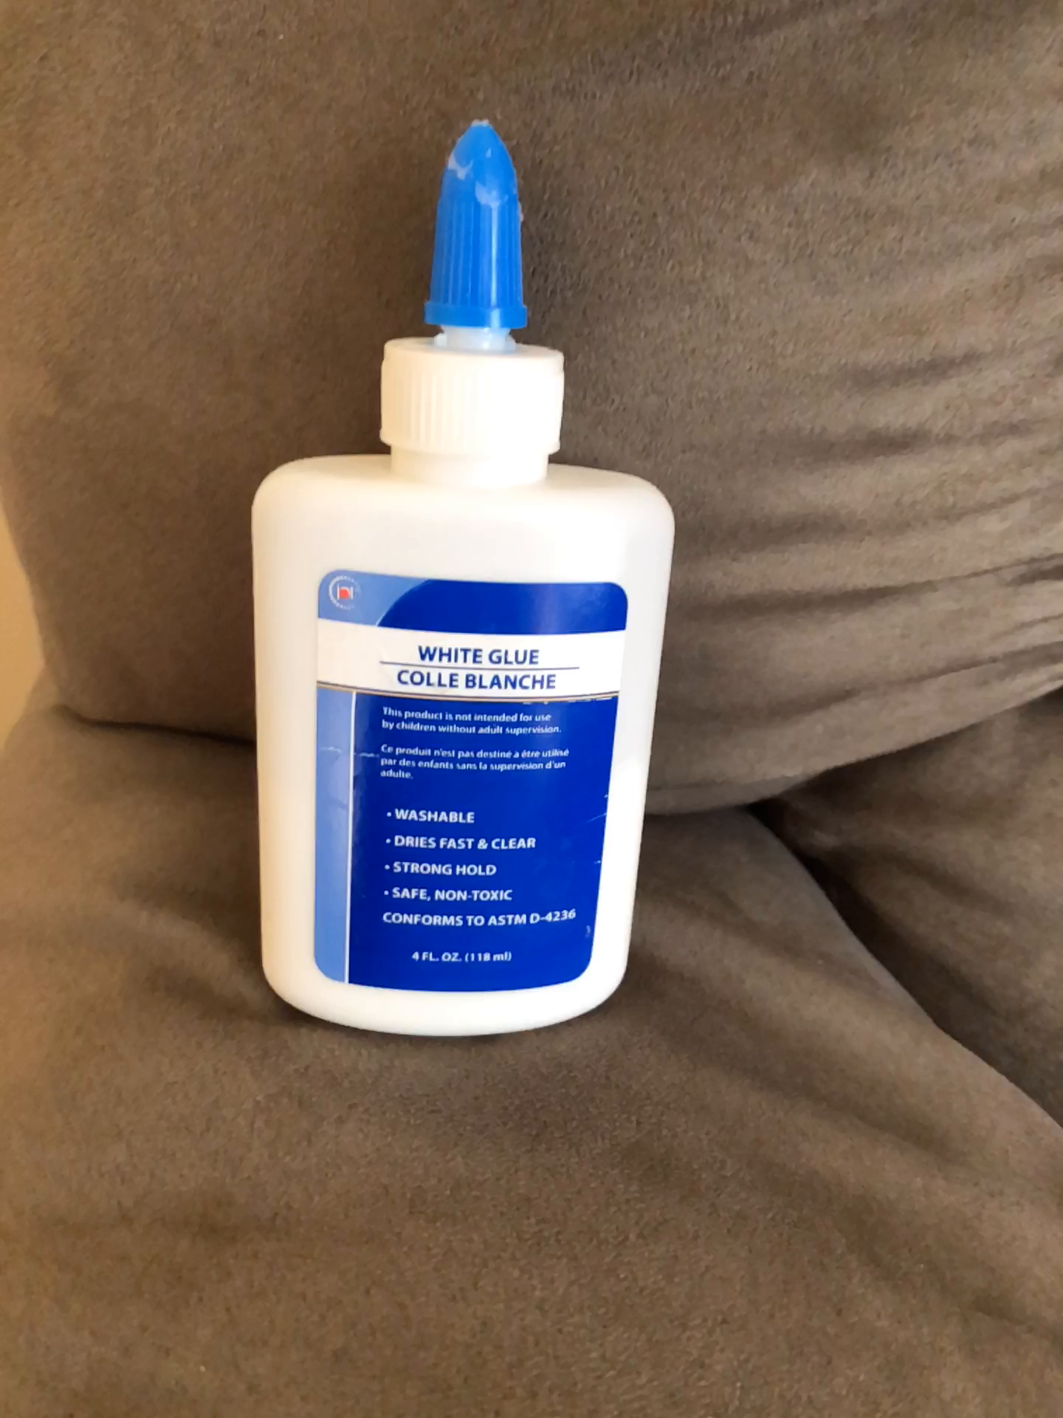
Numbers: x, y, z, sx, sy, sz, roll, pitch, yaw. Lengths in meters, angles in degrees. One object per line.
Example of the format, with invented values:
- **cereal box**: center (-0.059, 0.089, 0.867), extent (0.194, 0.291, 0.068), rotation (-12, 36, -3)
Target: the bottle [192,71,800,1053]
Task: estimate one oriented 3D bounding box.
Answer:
- **bottle**: center (-0.010, -0.016, 0.178), extent (0.070, 0.130, 0.040), rotation (2, 20, -7)
